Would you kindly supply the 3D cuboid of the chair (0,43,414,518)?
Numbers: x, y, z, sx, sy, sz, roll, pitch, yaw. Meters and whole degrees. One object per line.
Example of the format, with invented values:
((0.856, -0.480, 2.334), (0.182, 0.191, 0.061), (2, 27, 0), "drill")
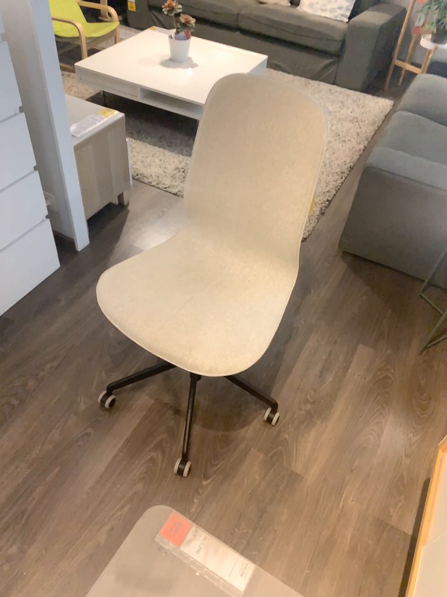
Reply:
((-0.034, -0.027, 1.336), (0.631, 1.007, 0.712), (26, 49, 17), "chair")
